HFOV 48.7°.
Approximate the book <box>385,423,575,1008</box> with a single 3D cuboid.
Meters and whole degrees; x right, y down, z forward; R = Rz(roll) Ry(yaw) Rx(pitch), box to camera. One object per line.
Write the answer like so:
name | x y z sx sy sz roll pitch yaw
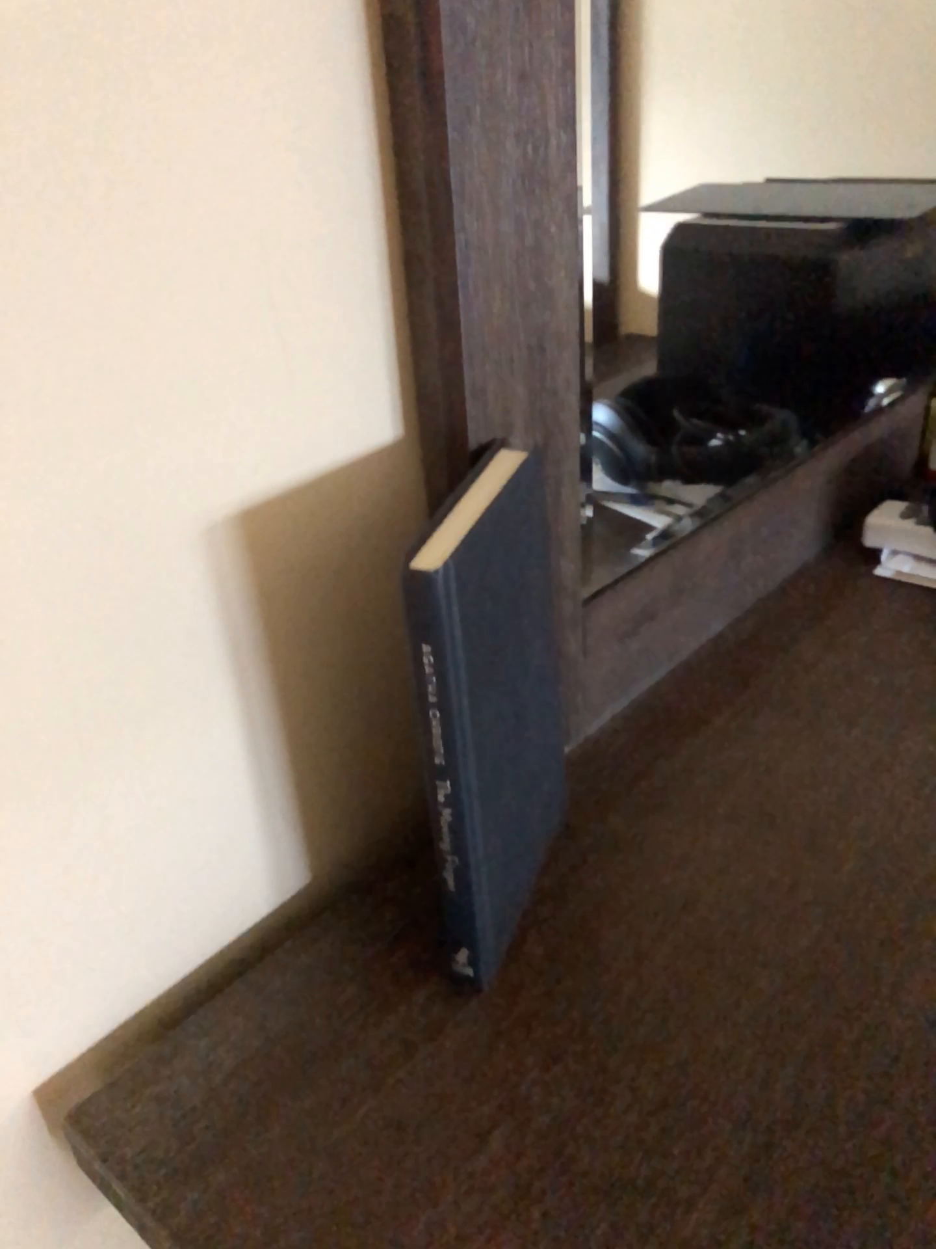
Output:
book | 0.016 0.040 0.491 0.028 0.229 0.151 5 30 19
